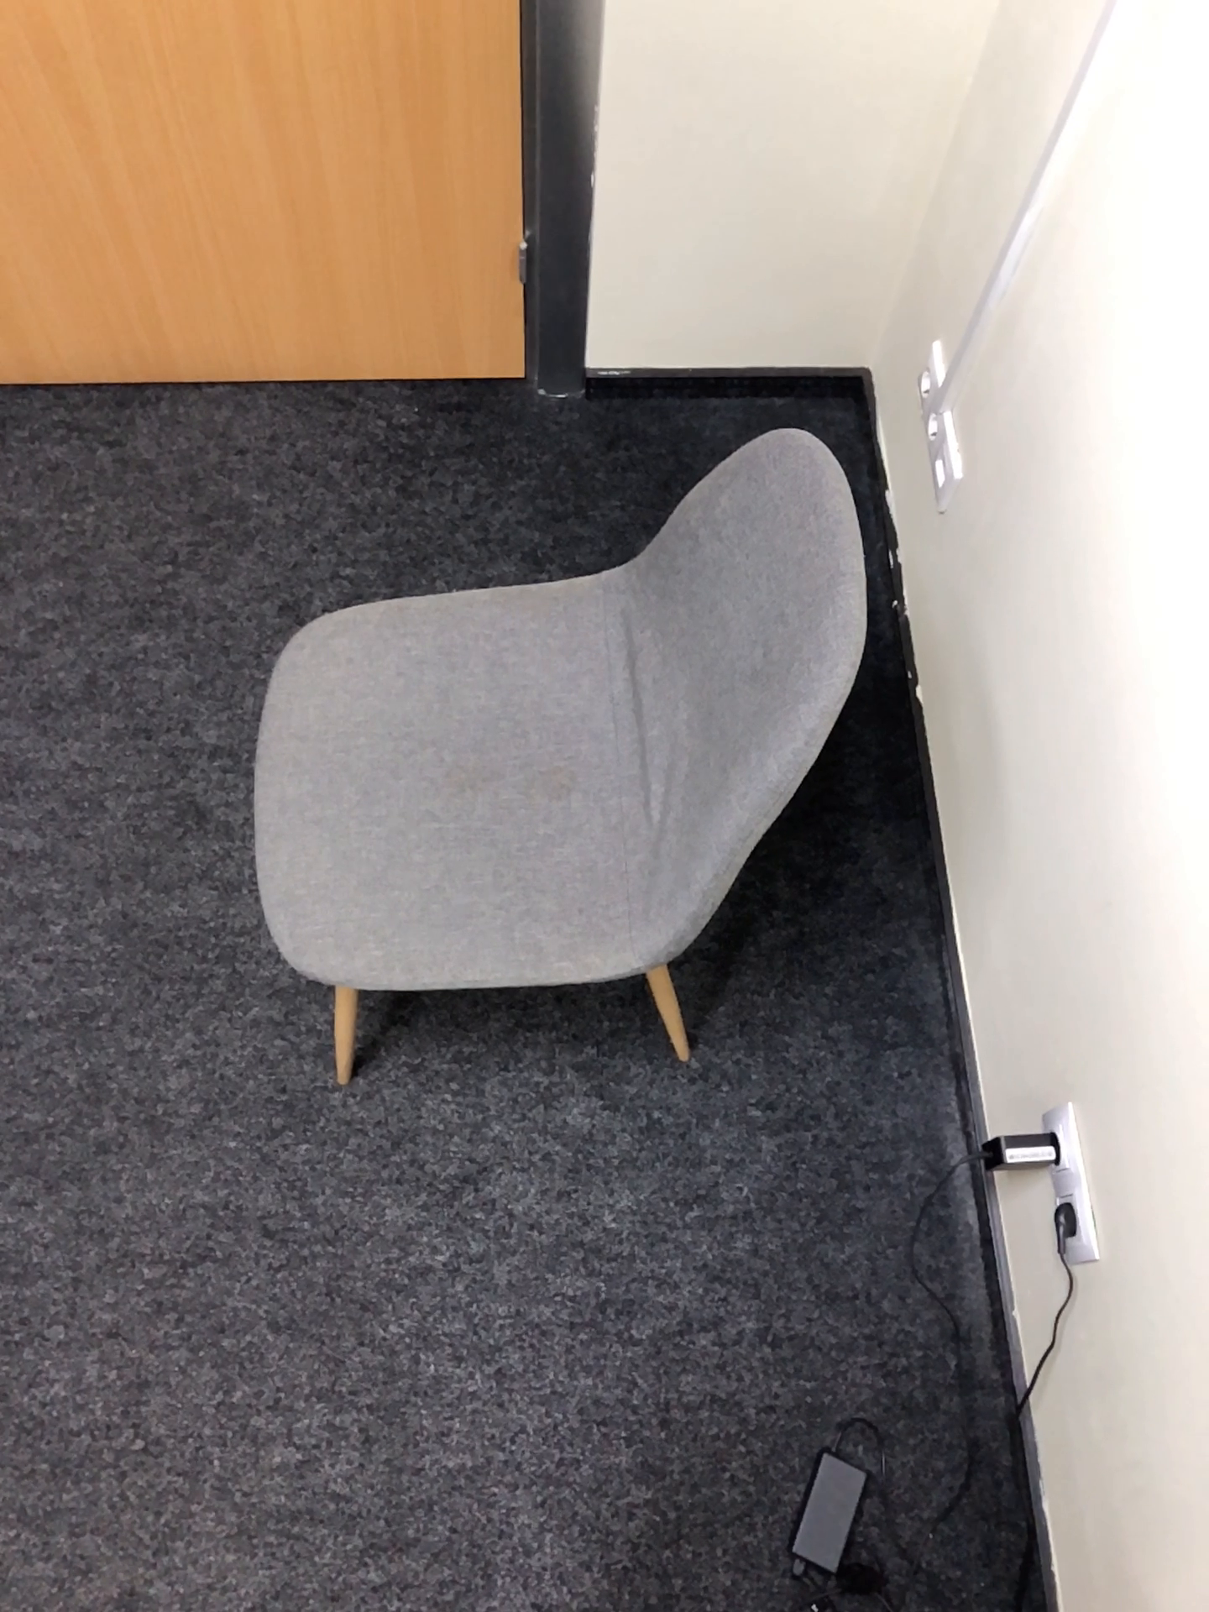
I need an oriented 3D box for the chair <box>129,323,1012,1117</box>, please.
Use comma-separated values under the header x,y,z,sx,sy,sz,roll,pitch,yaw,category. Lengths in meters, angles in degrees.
x,y,z,sx,sy,sz,roll,pitch,yaw,category
-0.057,-0.014,1.347,0.600,0.788,0.471,-4,68,-5,chair
